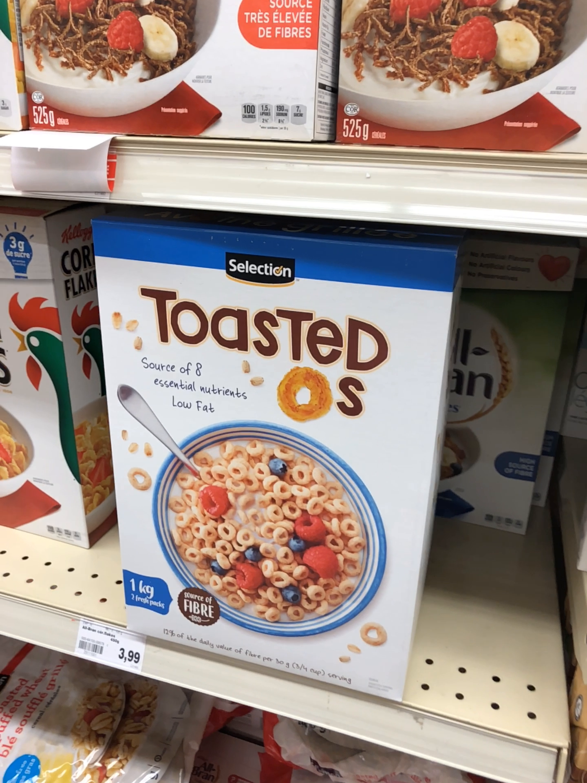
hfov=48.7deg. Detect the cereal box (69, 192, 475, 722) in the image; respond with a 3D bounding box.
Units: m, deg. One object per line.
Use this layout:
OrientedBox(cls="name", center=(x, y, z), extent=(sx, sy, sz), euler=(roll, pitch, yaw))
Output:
OrientedBox(cls="cereal box", center=(-0.007, 0.034, 0.505), extent=(0.240, 0.338, 0.161), euler=(8, 22, 15))
